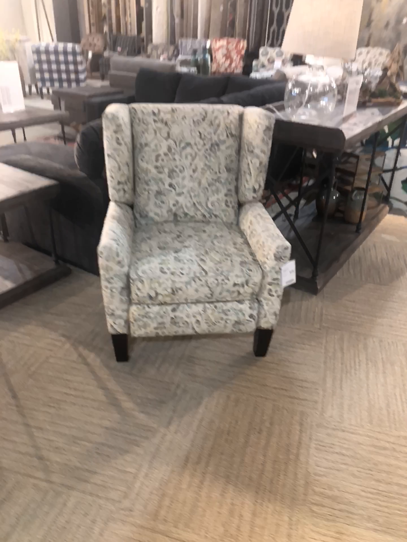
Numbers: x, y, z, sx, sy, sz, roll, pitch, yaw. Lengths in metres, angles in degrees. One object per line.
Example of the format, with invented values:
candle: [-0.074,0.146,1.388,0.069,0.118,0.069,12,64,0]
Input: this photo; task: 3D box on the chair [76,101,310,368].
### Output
chair: [-0.068,-0.202,2.065,0.780,0.975,0.804,0,29,-4]
